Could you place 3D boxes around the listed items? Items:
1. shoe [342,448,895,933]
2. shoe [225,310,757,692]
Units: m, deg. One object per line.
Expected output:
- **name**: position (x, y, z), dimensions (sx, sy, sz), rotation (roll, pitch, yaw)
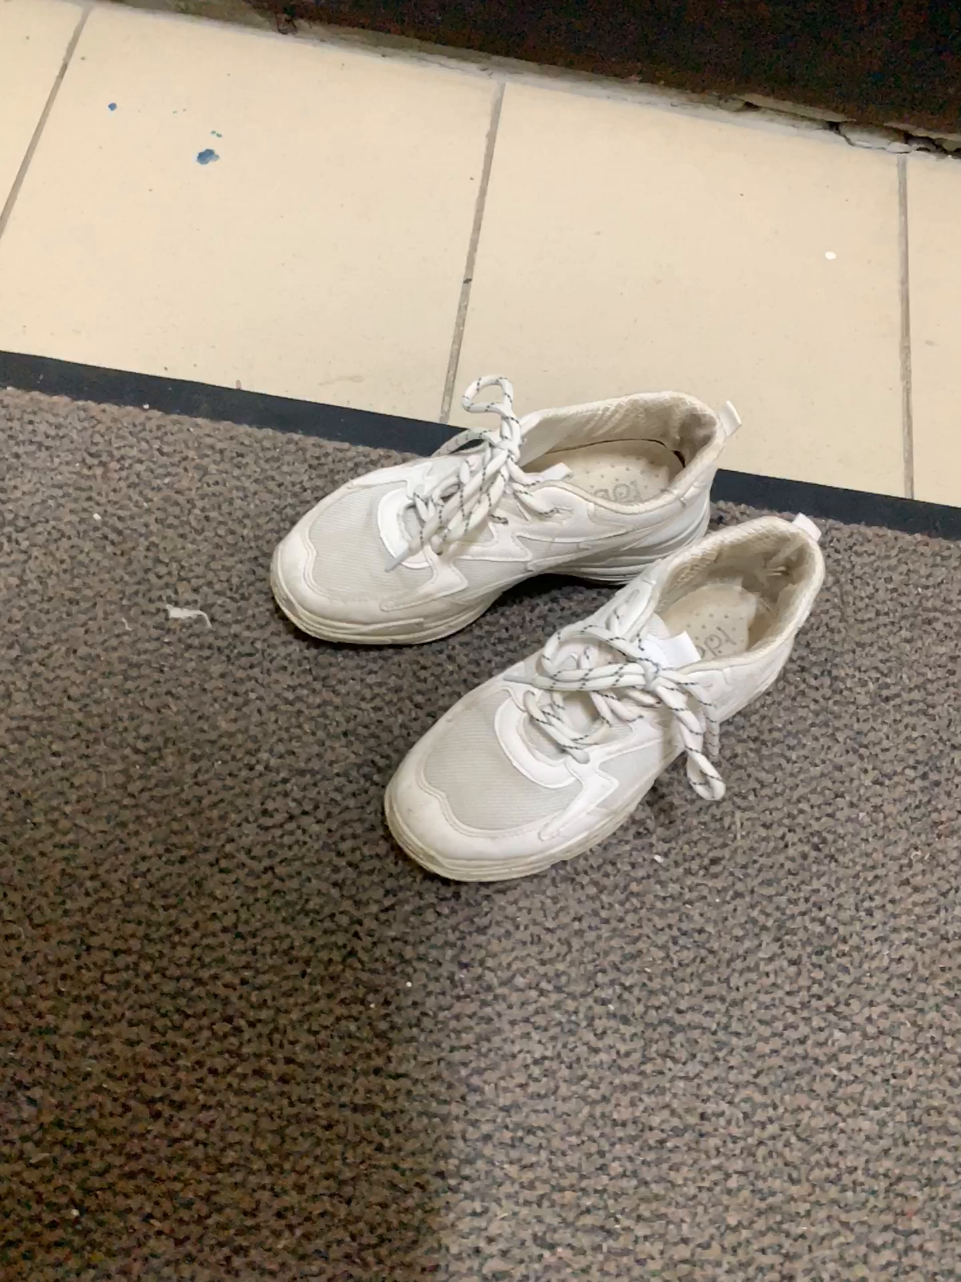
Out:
- **shoe**: position (0.058, 0.029, 0.493), dimensions (0.230, 0.140, 0.100), rotation (-31, 74, -17)
- **shoe**: position (0.000, -0.070, 0.524), dimensions (0.230, 0.140, 0.100), rotation (-14, 70, -11)
